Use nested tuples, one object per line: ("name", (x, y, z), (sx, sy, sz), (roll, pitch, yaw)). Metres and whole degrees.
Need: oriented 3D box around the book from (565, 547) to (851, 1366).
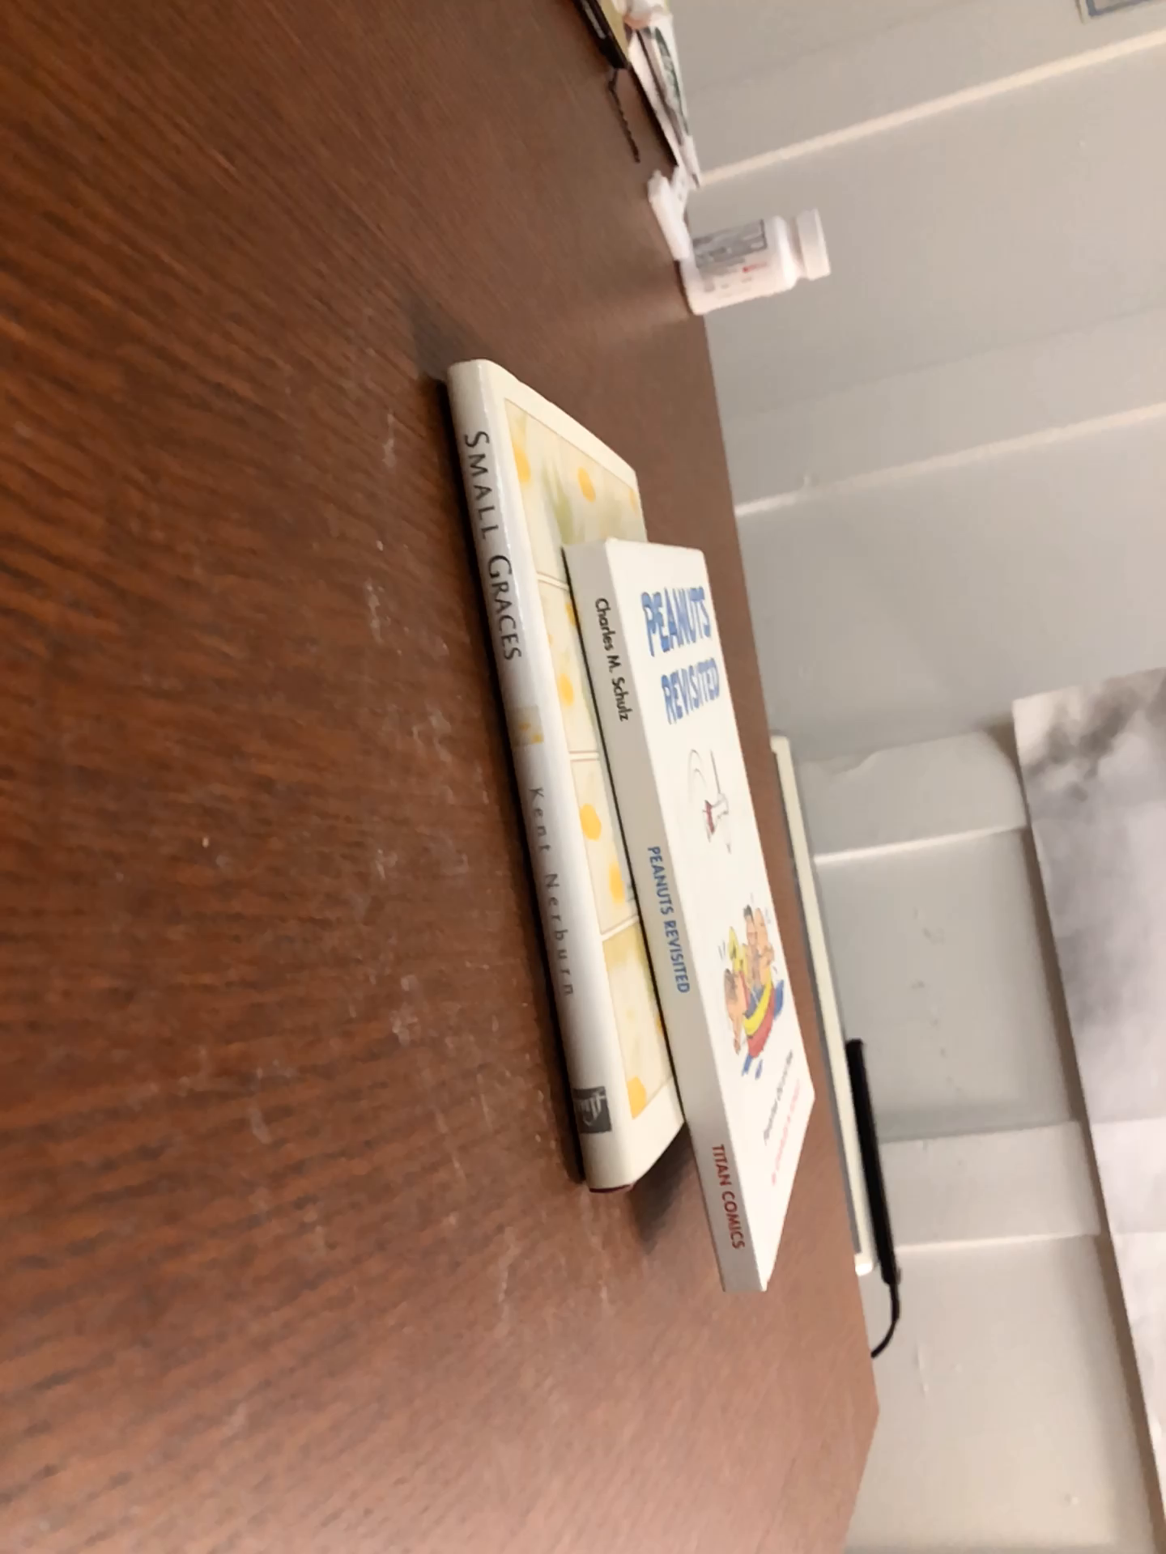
("book", (0.048, 0.036, 0.397), (0.161, 0.020, 0.210), (-34, 113, -72))
